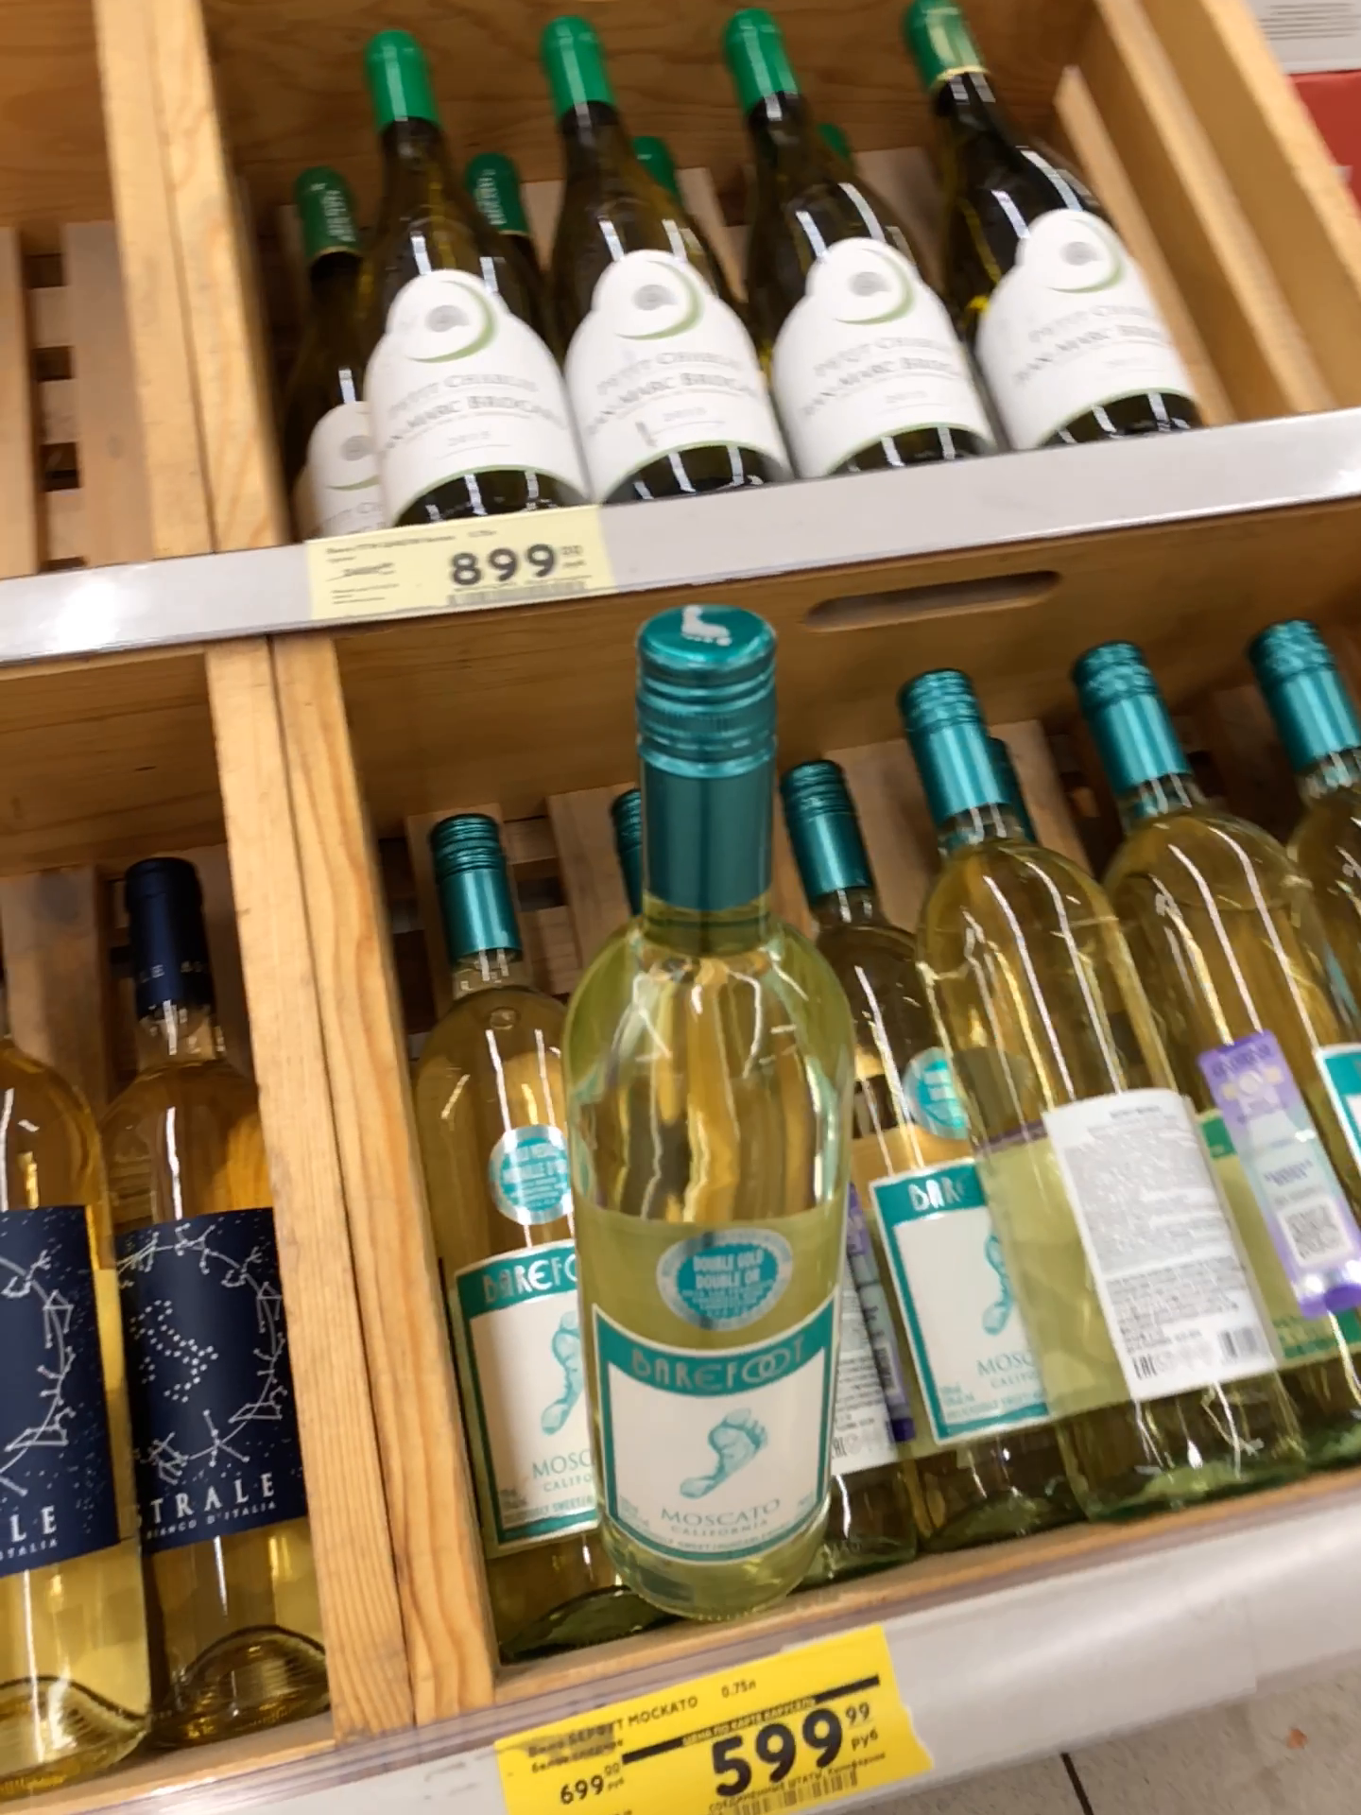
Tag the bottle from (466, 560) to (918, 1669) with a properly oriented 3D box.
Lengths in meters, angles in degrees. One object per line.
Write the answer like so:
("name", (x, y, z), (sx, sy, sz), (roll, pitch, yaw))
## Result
("bottle", (0.003, 0.068, 0.375), (0.080, 0.288, 0.080), (-1, 33, 1))
